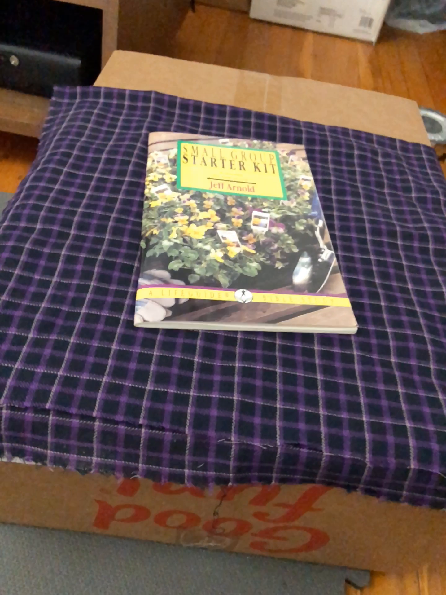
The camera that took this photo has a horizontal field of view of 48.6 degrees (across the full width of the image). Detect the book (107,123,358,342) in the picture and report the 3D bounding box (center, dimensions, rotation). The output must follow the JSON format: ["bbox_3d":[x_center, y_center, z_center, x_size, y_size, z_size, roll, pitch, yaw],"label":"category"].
[{"bbox_3d":[0.002,-0.062,0.369,0.150,0.010,0.221,2,49,-7],"label":"book"}]
